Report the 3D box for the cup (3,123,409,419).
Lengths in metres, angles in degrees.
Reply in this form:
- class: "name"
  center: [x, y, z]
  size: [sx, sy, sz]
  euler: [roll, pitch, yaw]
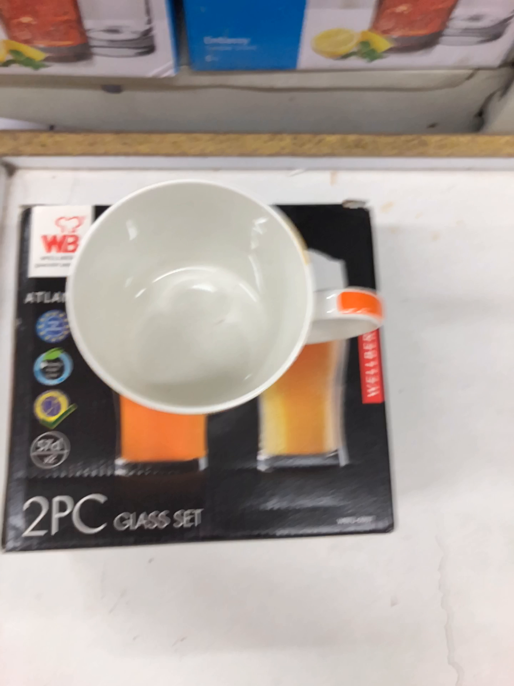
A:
- class: "cup"
  center: [-0.020, -0.022, 0.240]
  size: [0.130, 0.090, 0.090]
  euler: [-3, 77, -3]
